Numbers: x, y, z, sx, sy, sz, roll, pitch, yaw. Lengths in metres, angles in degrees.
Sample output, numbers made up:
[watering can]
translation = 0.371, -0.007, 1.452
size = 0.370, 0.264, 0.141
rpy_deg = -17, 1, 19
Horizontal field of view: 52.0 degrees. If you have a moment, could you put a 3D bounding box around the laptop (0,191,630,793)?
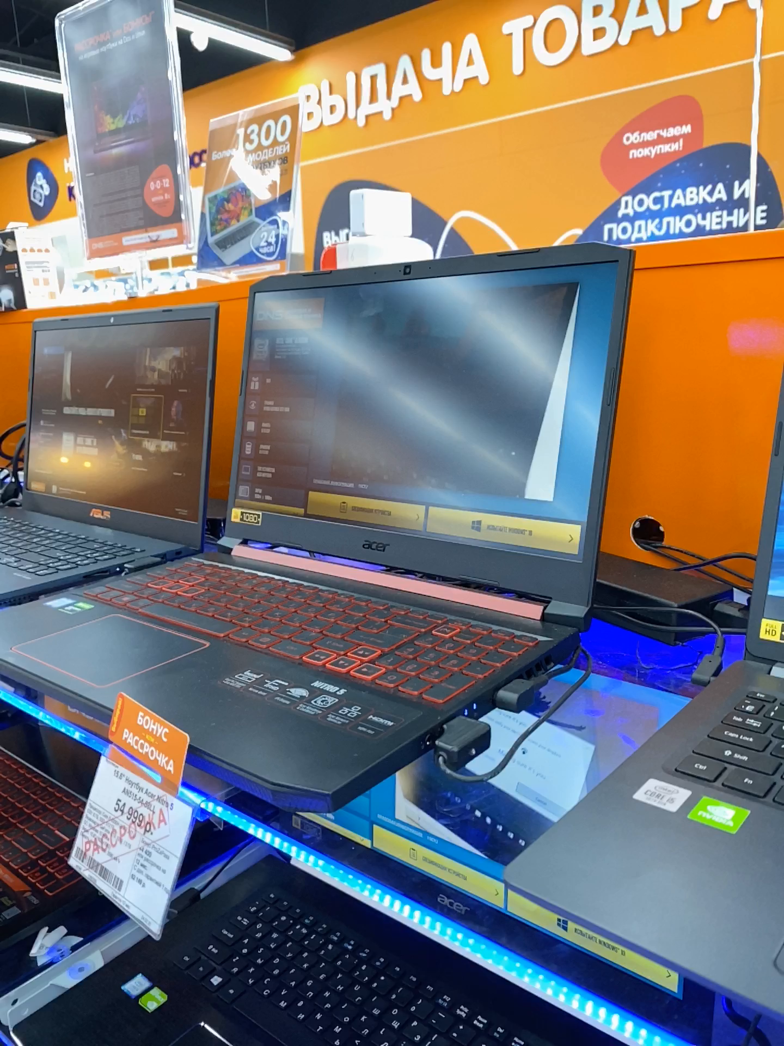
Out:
[laptop]
translation = -0.080, -0.051, 0.535
size = 0.361, 0.237, 0.302
rpy_deg = 8, 15, 37
